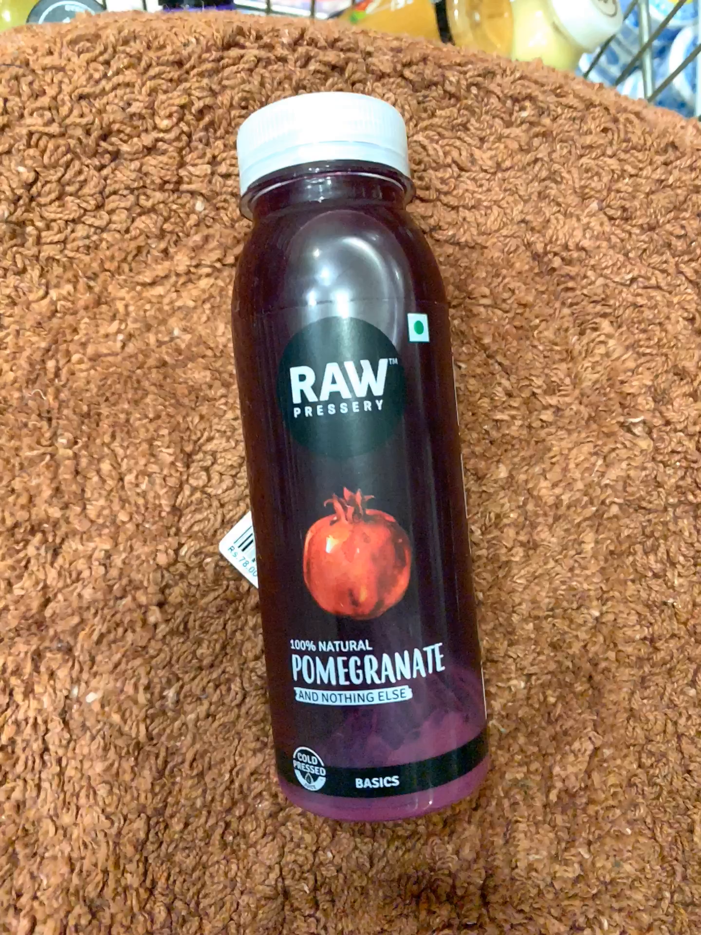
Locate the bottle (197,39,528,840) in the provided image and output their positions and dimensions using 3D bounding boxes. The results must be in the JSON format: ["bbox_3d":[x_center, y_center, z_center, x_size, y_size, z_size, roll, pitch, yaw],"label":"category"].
[{"bbox_3d":[0.003,-0.004,0.151,0.050,0.040,0.140,-5,98,-7],"label":"bottle"}]
